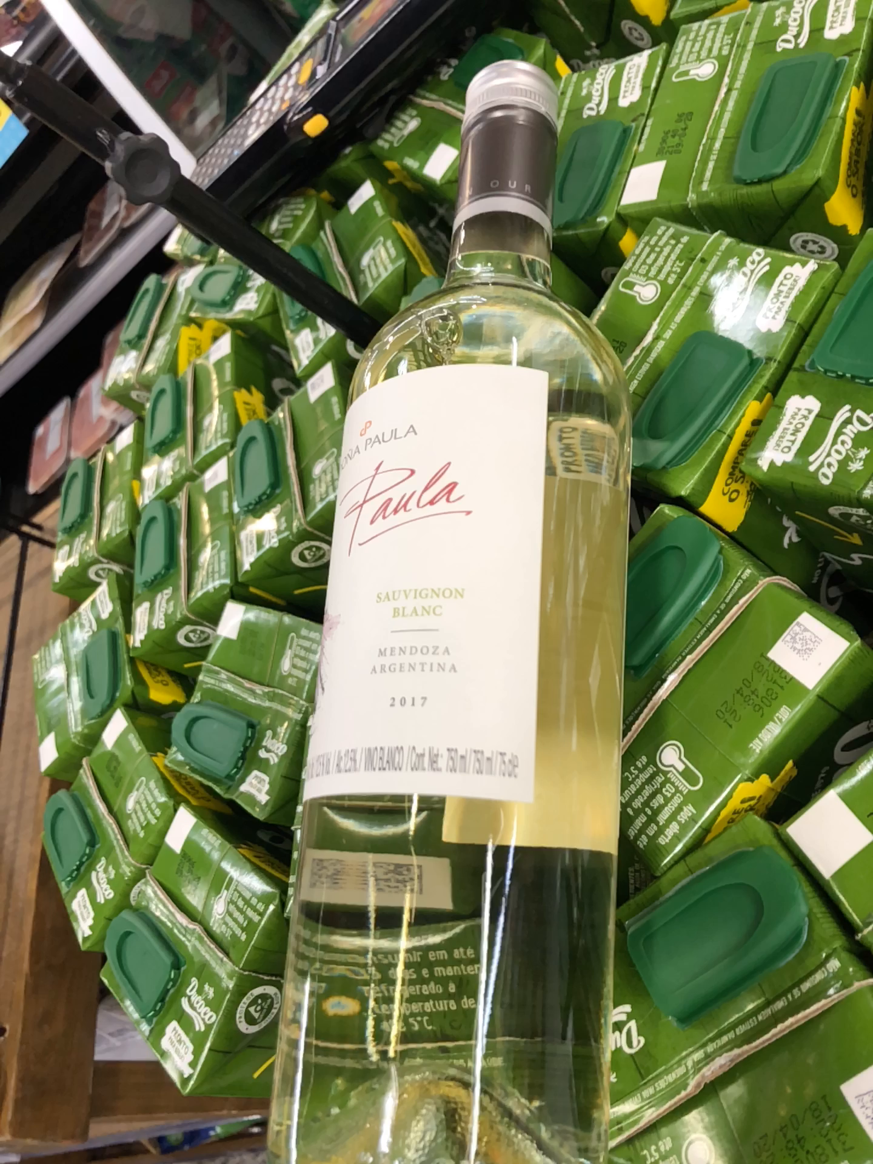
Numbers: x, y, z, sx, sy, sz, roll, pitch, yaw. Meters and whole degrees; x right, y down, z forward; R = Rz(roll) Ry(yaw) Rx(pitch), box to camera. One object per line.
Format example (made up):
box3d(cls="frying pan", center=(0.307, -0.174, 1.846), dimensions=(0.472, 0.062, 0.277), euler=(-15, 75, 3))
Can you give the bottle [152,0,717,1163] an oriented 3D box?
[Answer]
box3d(cls="bottle", center=(0.017, -0.037, 0.246), dimensions=(0.080, 0.070, 0.331), euler=(-14, 60, 39))
